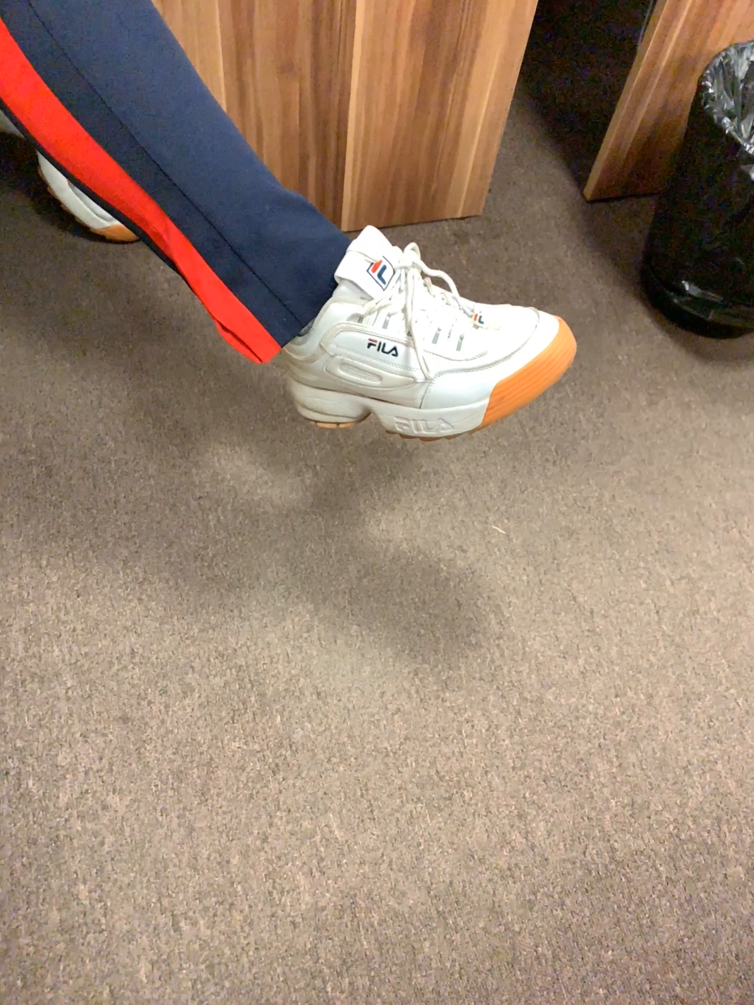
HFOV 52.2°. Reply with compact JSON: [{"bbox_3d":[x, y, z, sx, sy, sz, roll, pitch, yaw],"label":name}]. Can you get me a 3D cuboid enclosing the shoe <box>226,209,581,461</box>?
[{"bbox_3d":[0.029,-0.140,0.611,0.230,0.130,0.130,10,49,25],"label":"shoe"}]
